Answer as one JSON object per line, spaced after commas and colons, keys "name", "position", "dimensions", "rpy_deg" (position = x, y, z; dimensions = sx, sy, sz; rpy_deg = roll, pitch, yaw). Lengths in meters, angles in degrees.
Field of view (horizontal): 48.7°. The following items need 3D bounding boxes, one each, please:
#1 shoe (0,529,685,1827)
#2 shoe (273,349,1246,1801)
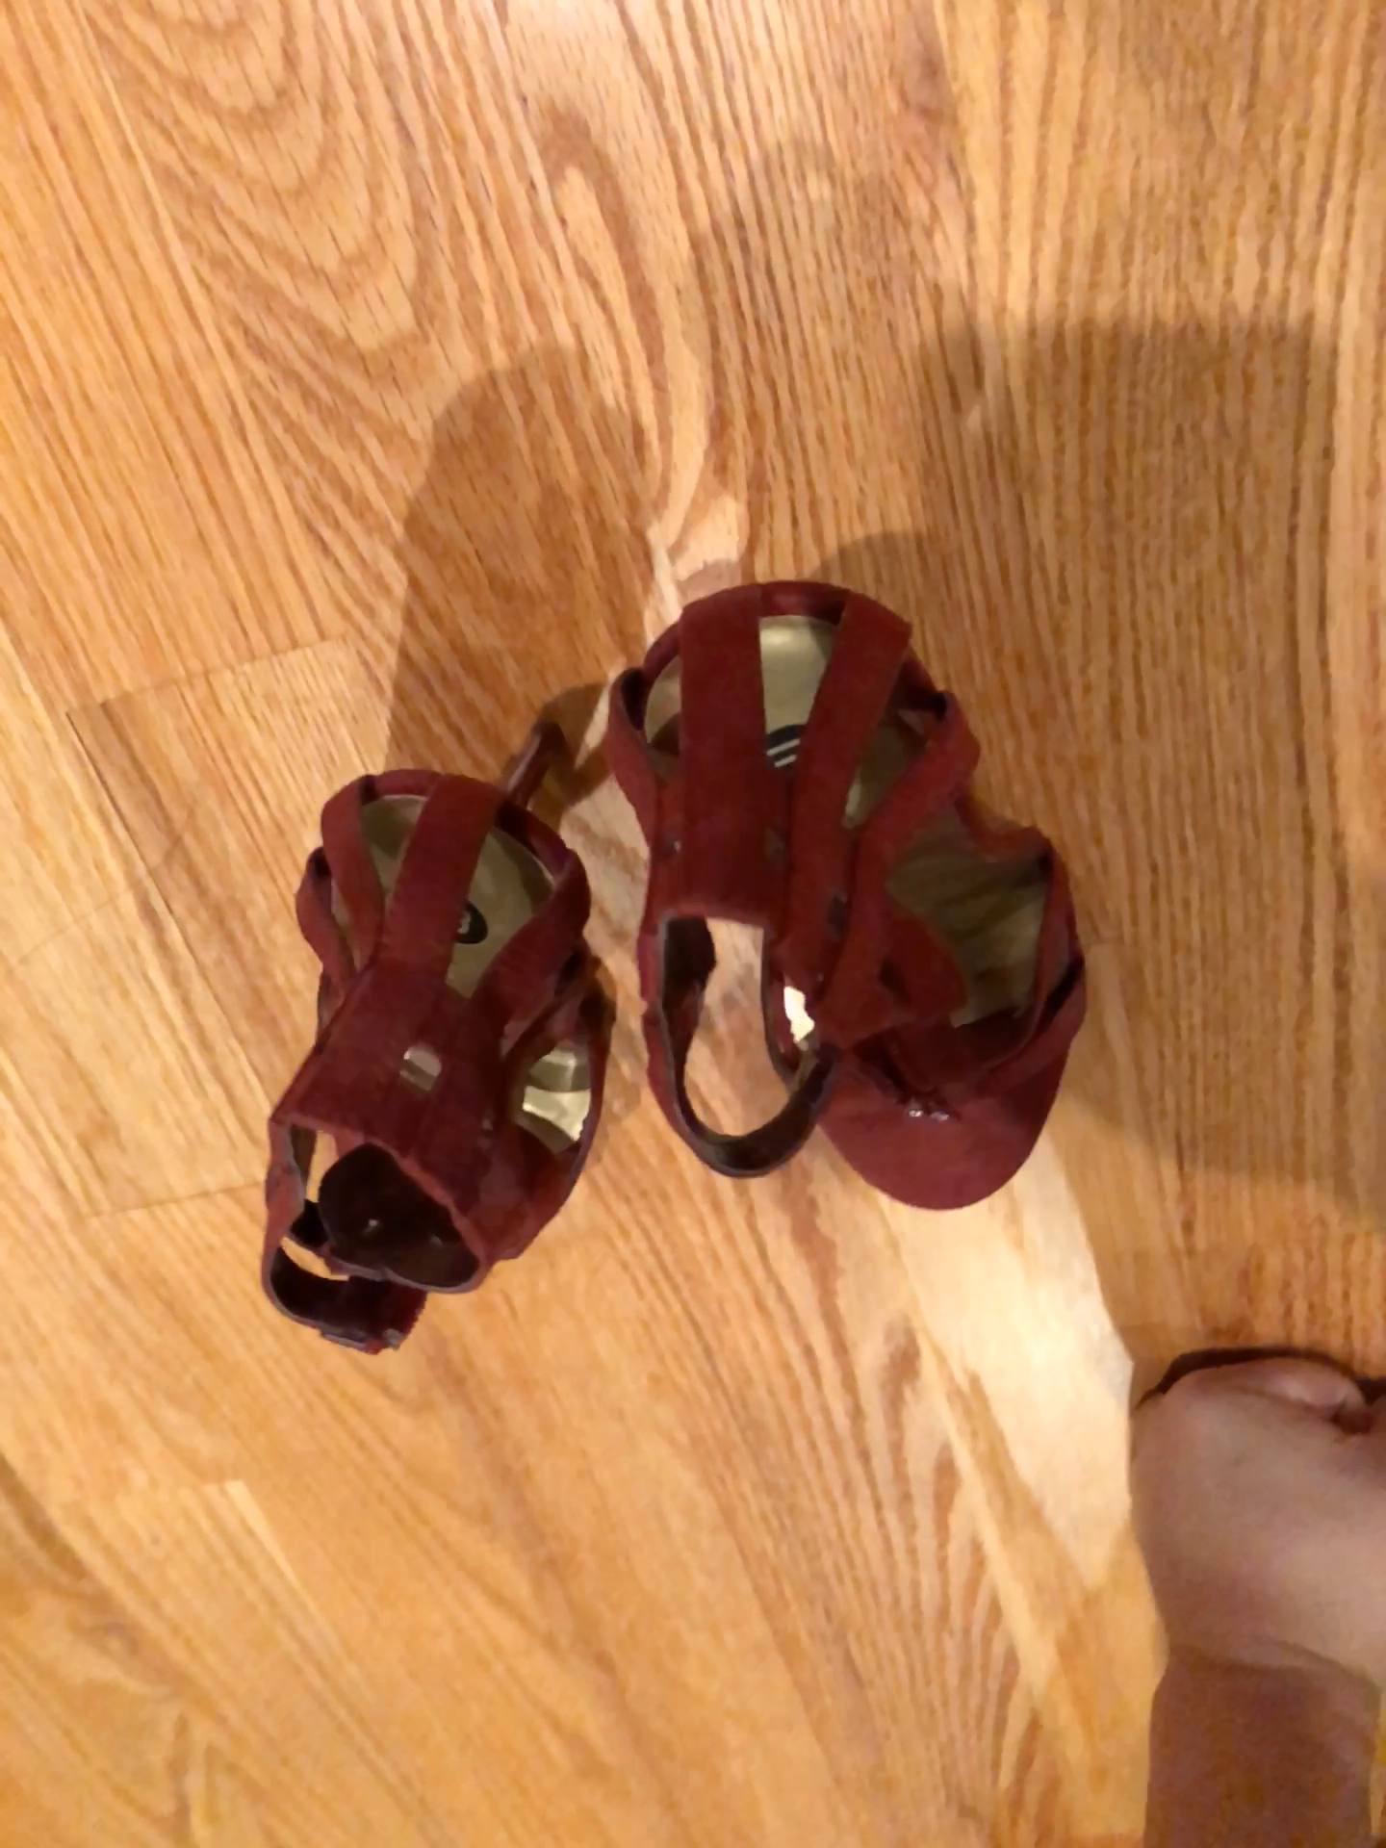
{"name": "shoe", "position": [-0.070, 0.044, 0.331], "dimensions": [0.085, 0.176, 0.199], "rpy_deg": [11, 120, 2]}
{"name": "shoe", "position": [0.032, 0.020, 0.298], "dimensions": [0.085, 0.176, 0.207], "rpy_deg": [-13, 117, 15]}
